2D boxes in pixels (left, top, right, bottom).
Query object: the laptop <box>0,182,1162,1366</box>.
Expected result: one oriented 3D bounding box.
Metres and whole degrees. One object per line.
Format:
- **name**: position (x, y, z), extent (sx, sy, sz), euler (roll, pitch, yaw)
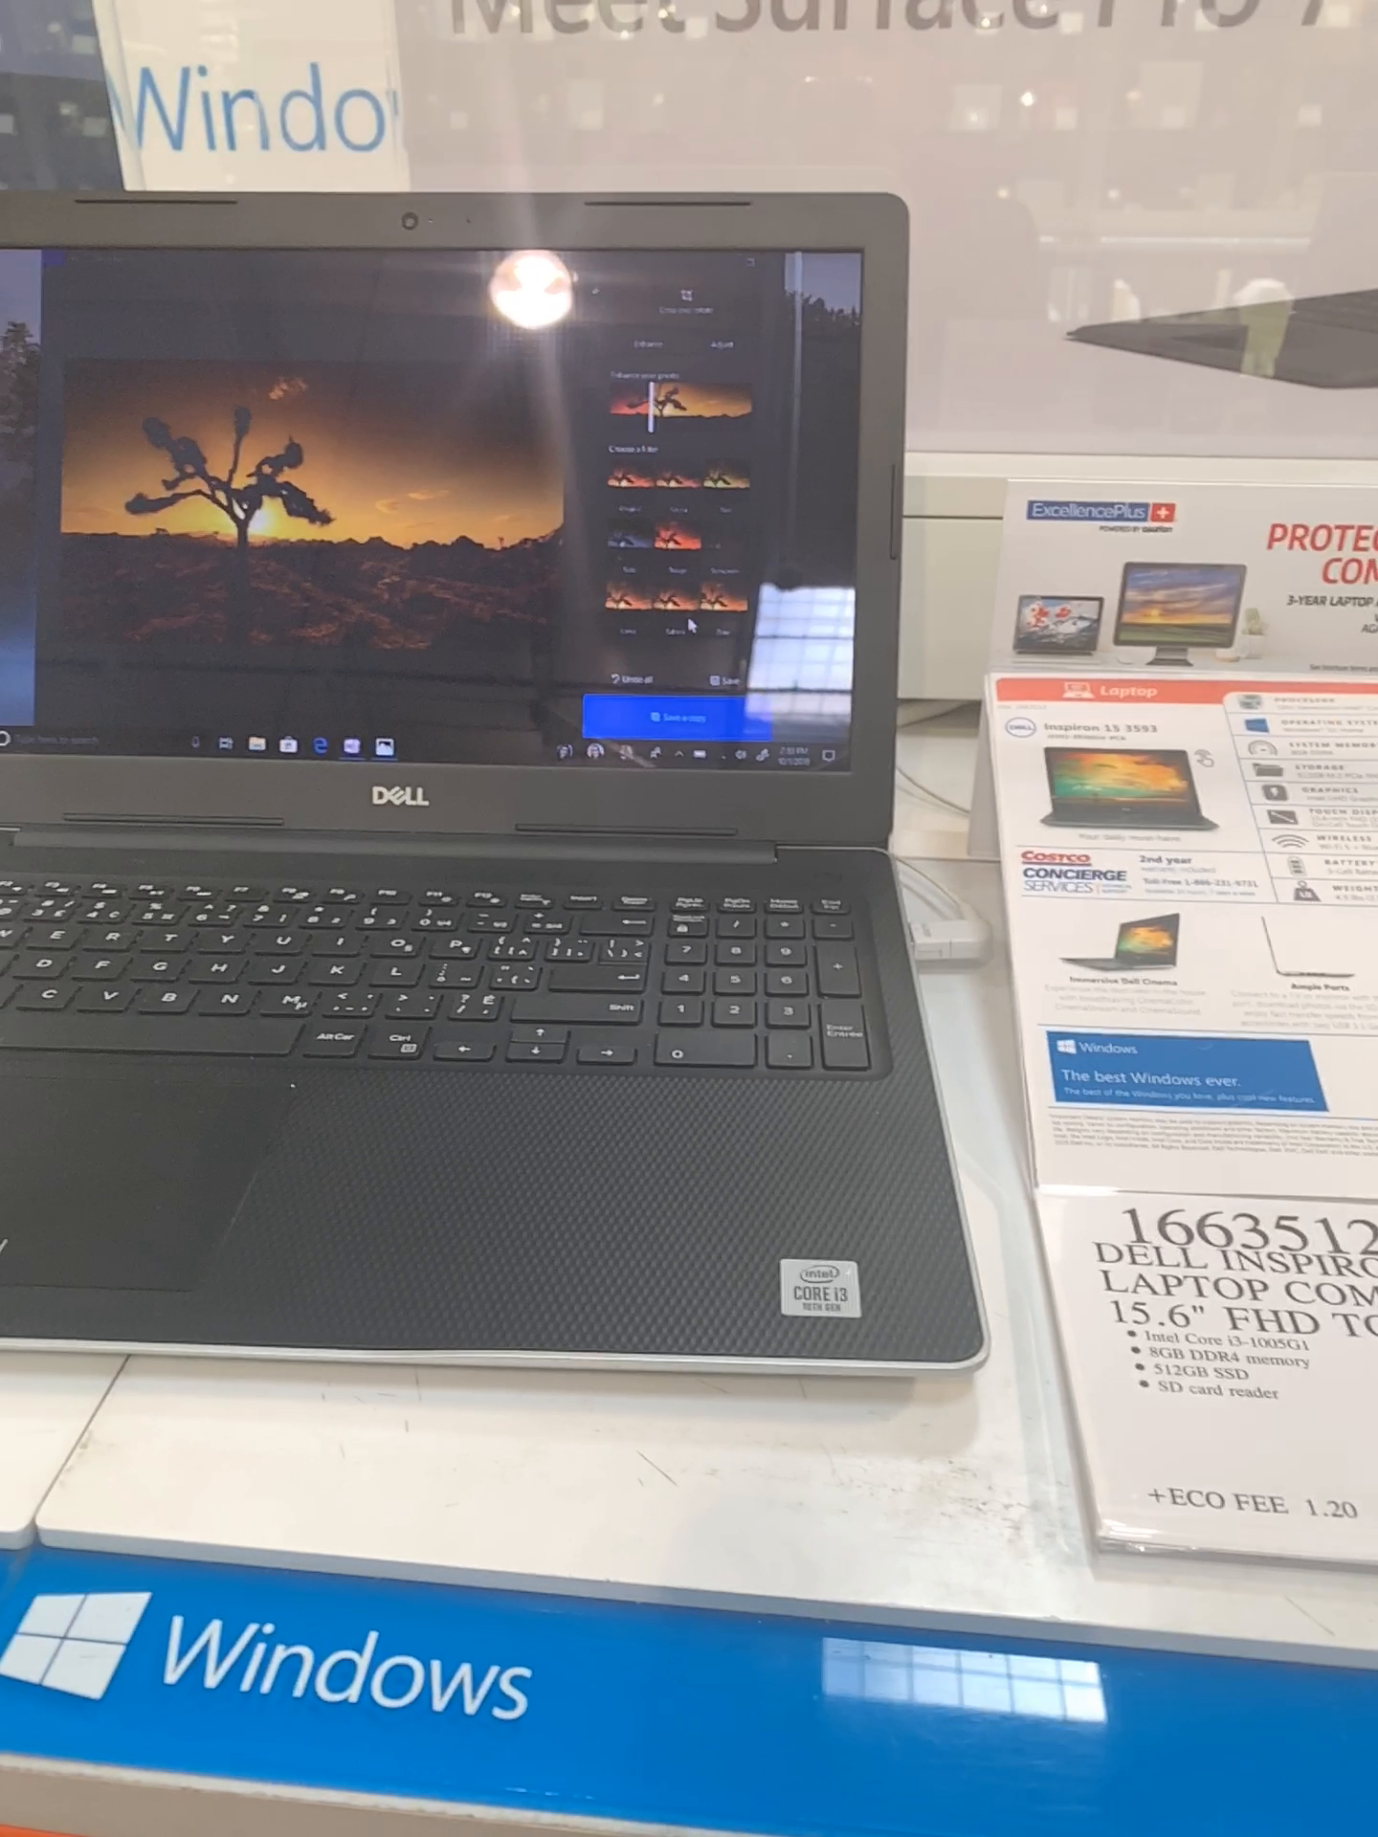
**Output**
- **laptop**: position (-0.107, -0.085, 0.401), extent (0.357, 0.205, 0.343), euler (2, 28, 1)
